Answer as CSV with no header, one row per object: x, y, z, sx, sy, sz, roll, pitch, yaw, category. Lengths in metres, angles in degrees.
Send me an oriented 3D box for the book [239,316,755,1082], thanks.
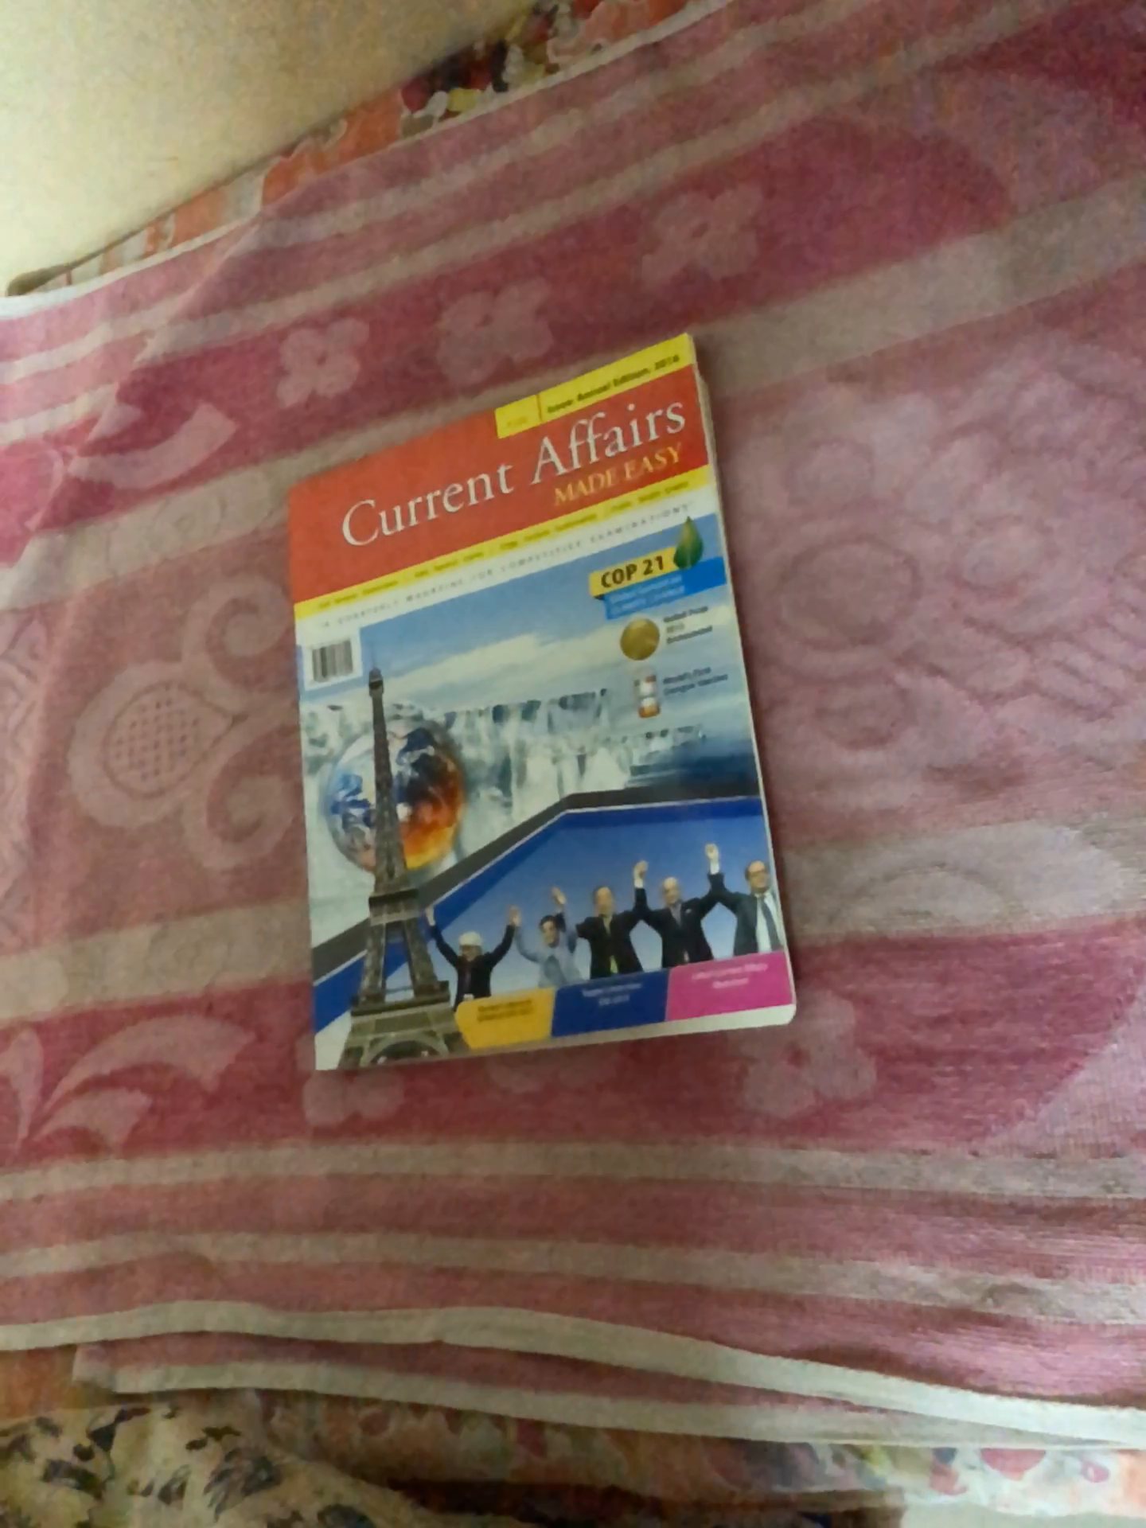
-0.045,-0.021,0.511,0.205,0.025,0.270,-13,72,26,book
